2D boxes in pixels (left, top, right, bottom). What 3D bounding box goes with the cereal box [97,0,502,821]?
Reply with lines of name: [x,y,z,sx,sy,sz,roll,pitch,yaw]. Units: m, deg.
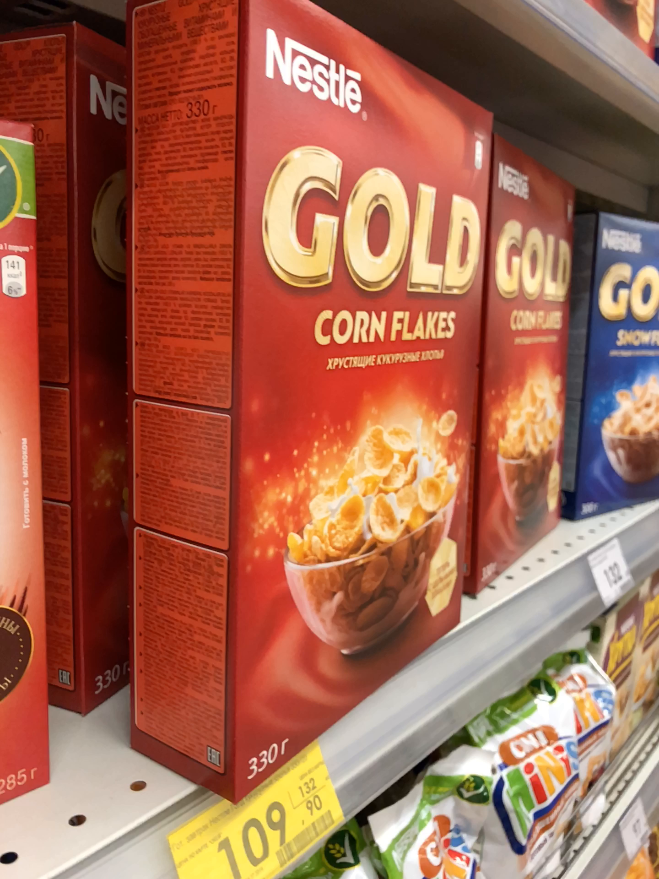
cereal box: [-0.001,-0.023,0.327,0.060,0.279,0.201,9,12,33]
